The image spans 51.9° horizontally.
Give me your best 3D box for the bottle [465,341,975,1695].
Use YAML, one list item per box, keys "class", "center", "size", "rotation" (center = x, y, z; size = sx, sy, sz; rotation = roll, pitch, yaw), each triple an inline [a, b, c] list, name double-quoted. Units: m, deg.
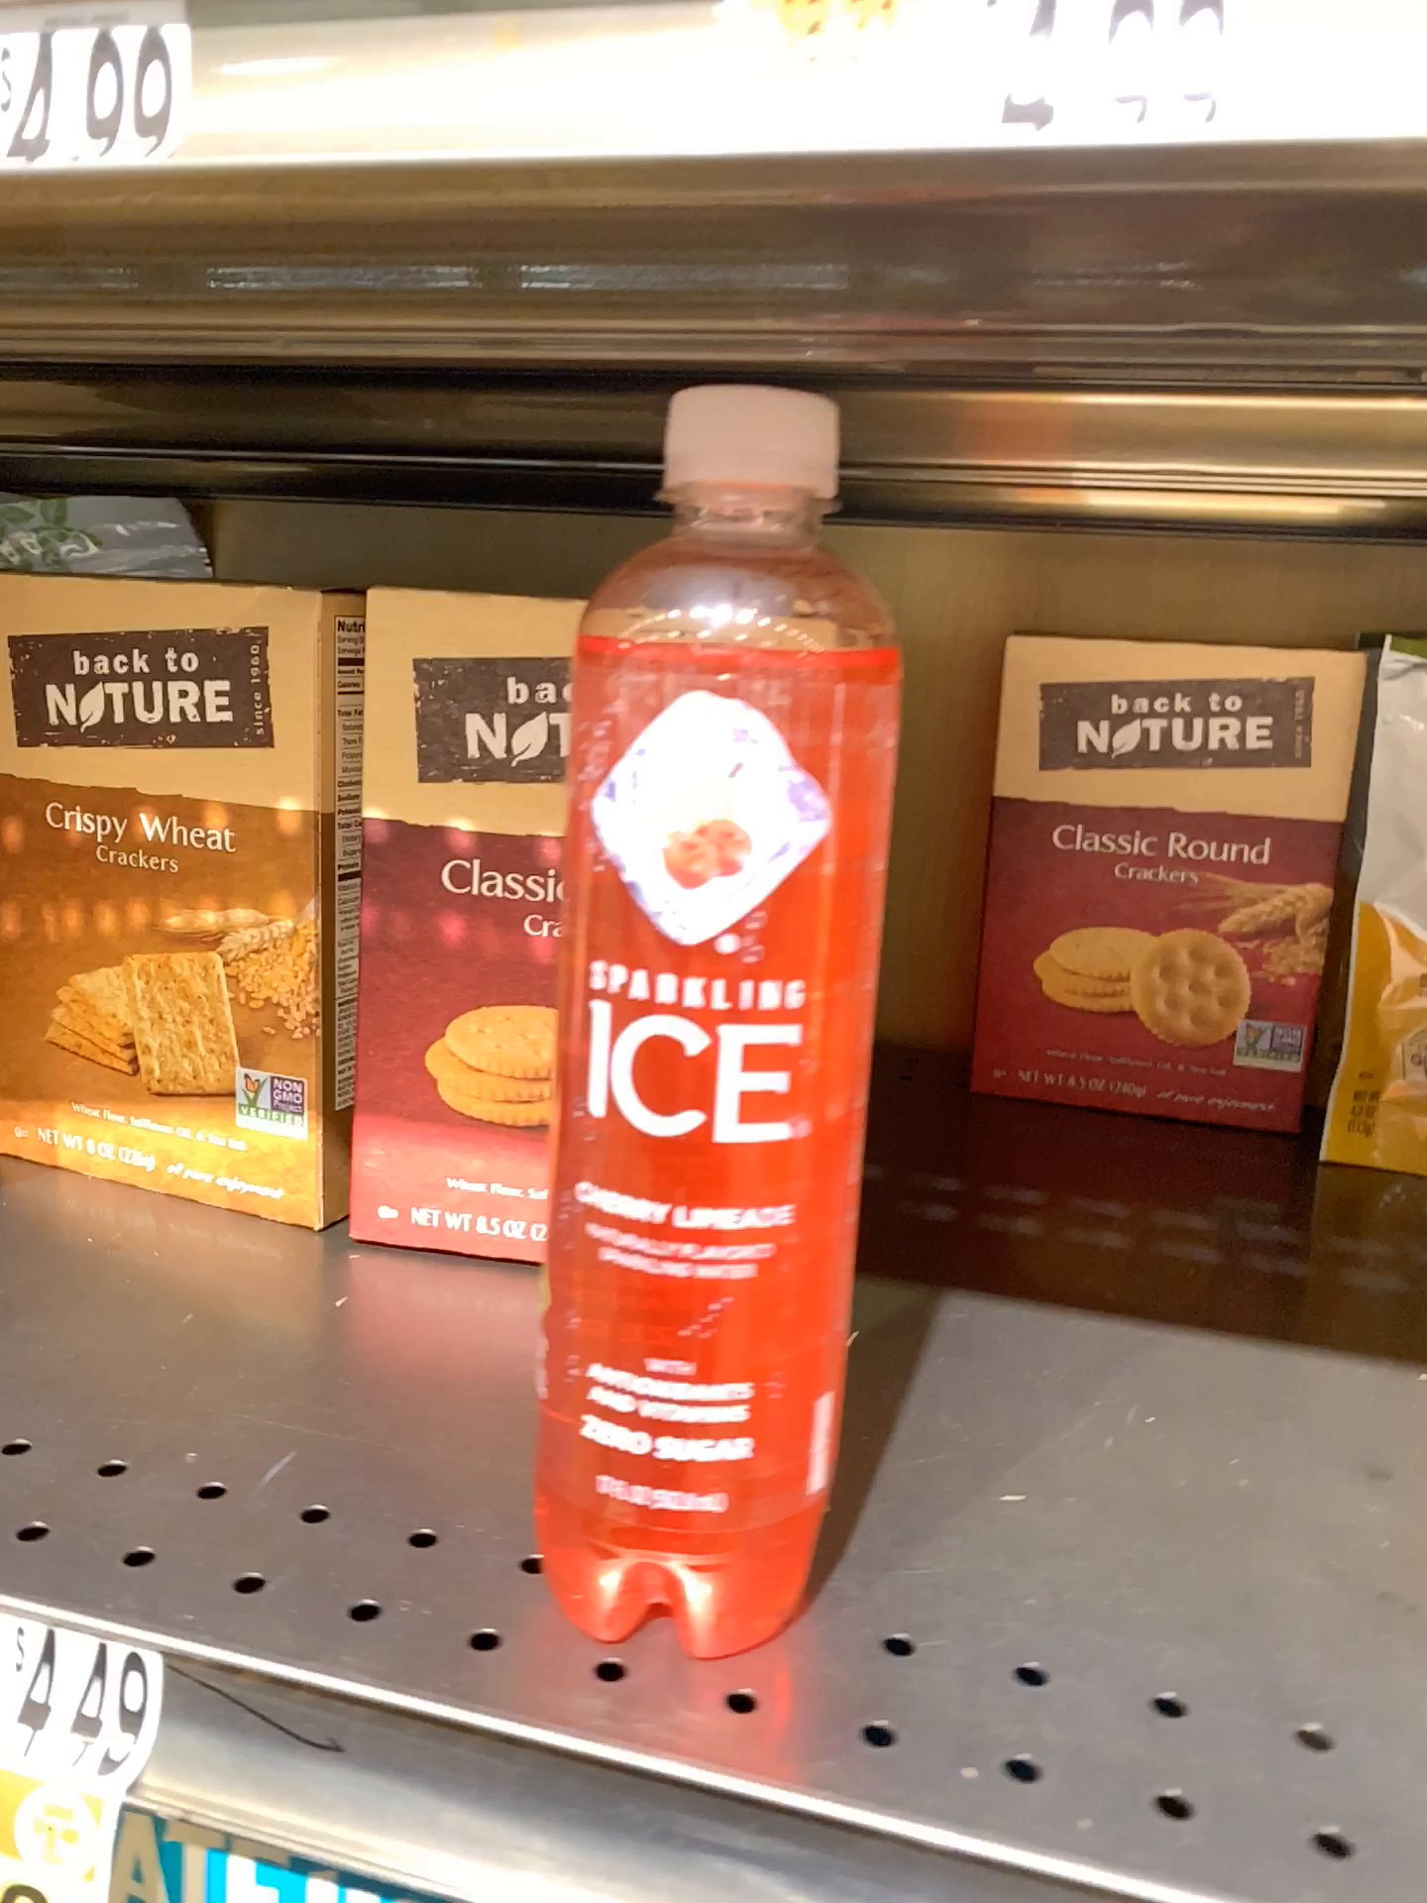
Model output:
- class: "bottle"
  center: [0.000, 0.012, 0.255]
  size: [0.065, 0.211, 0.060]
  rotation: [3, 14, -1]
